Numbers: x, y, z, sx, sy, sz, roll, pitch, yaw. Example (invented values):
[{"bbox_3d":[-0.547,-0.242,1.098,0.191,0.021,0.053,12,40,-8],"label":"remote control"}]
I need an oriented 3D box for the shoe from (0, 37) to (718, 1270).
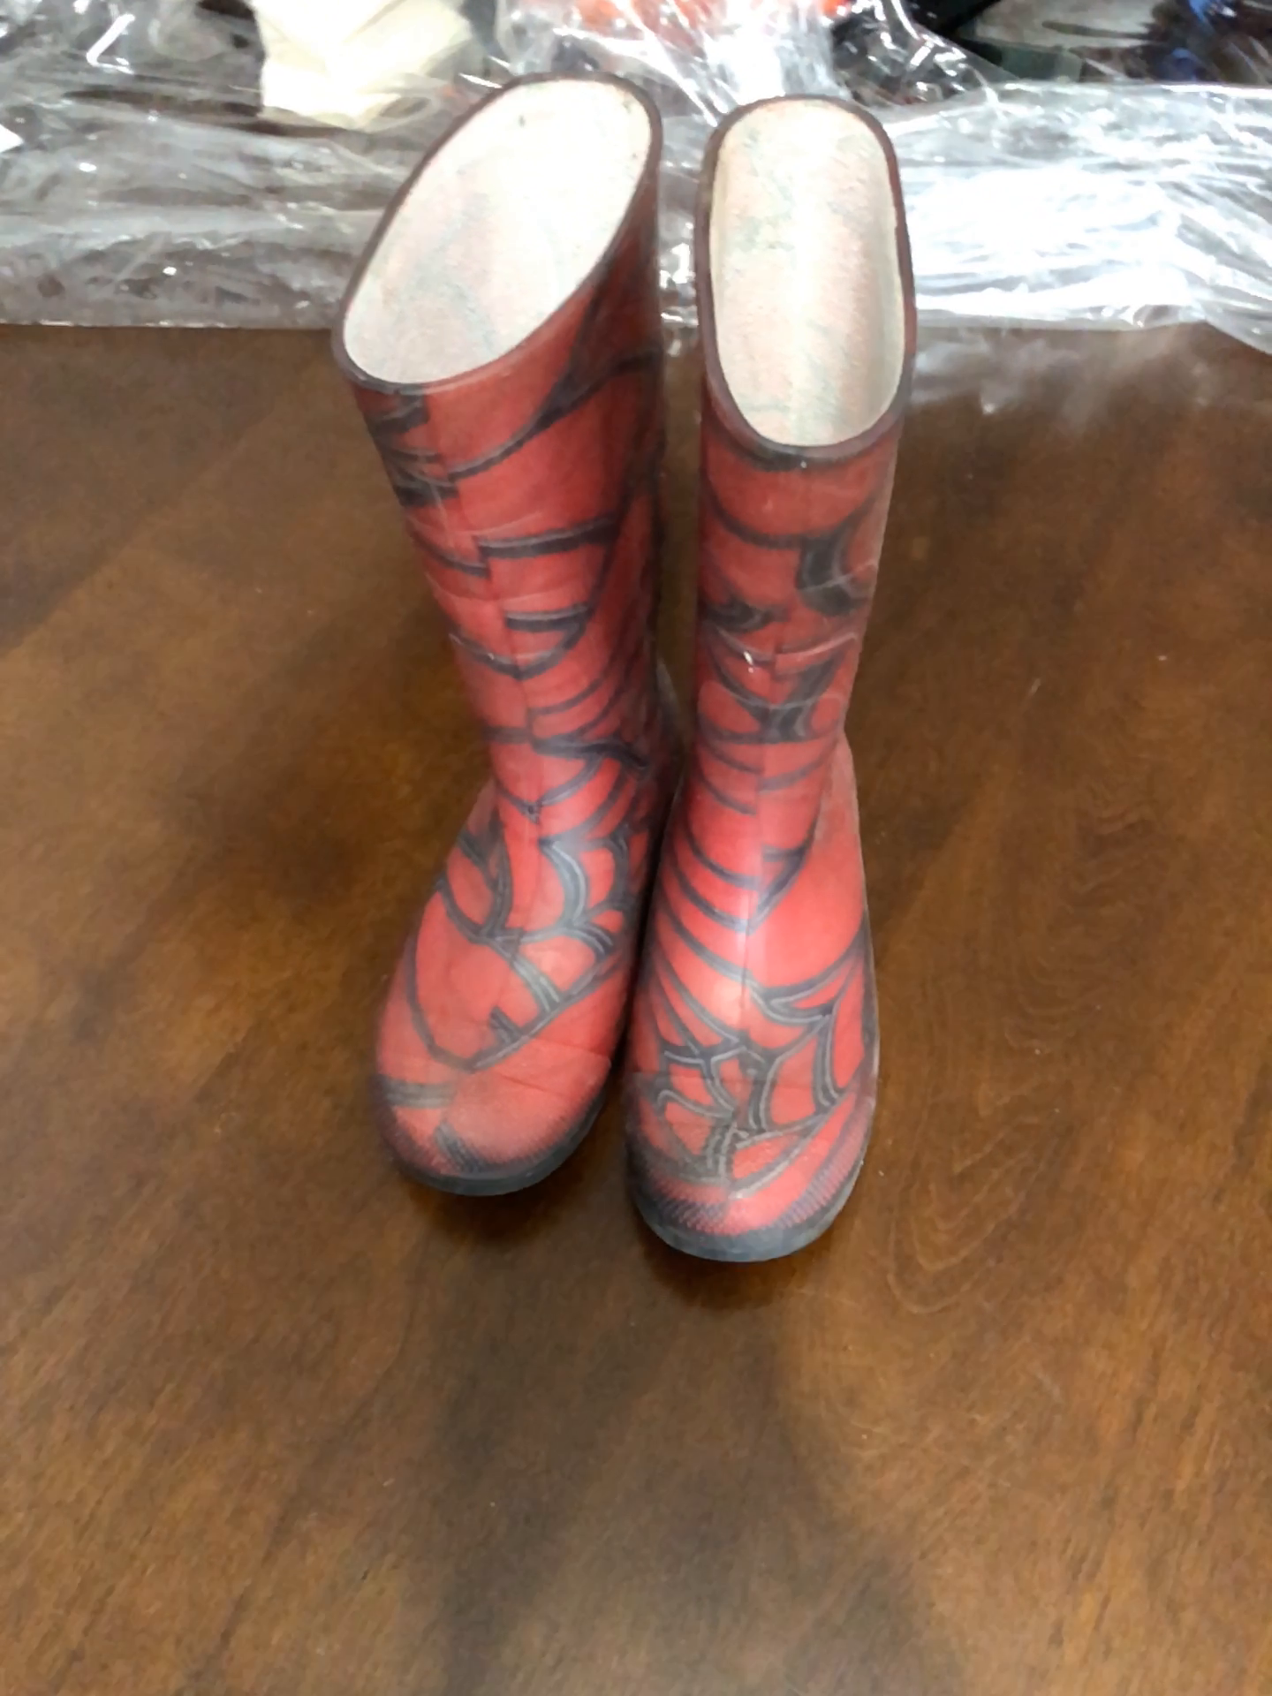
[{"bbox_3d":[-0.040,-0.038,0.383,0.080,0.239,0.220,10,57,8],"label":"shoe"}]

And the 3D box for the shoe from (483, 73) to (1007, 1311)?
[{"bbox_3d":[0.032,-0.026,0.375,0.080,0.239,0.220,5,56,5],"label":"shoe"}]
